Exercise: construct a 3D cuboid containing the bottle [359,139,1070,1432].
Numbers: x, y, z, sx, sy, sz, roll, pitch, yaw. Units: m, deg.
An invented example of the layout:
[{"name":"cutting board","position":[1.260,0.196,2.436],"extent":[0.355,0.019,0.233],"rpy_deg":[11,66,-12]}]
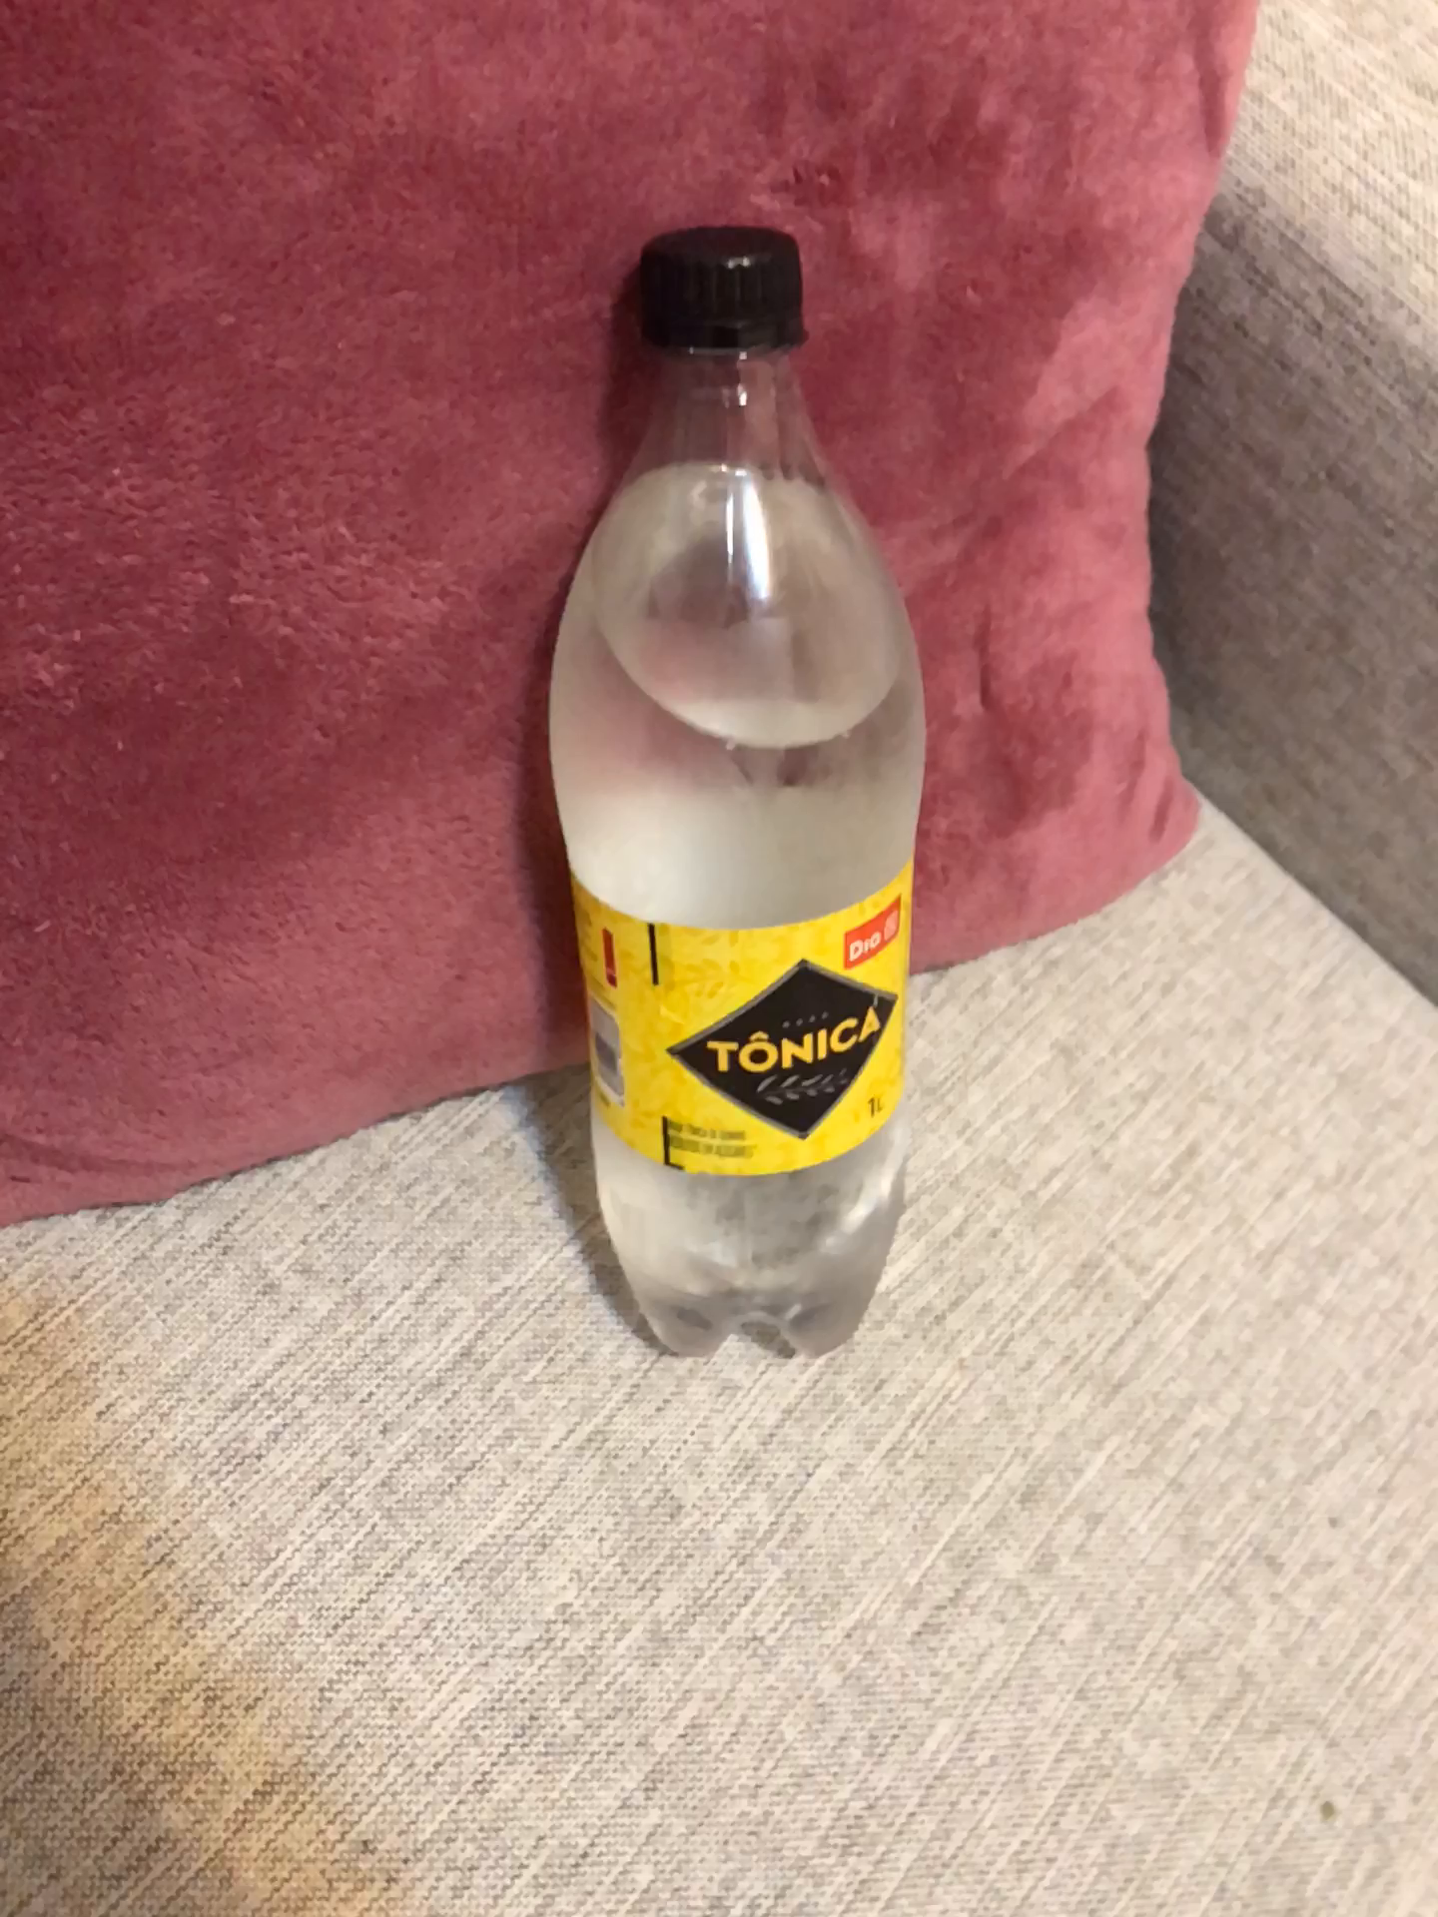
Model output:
[{"name":"bottle","position":[-0.002,-0.030,0.373],"extent":[0.100,0.269,0.100],"rpy_deg":[-1,36,1]}]
